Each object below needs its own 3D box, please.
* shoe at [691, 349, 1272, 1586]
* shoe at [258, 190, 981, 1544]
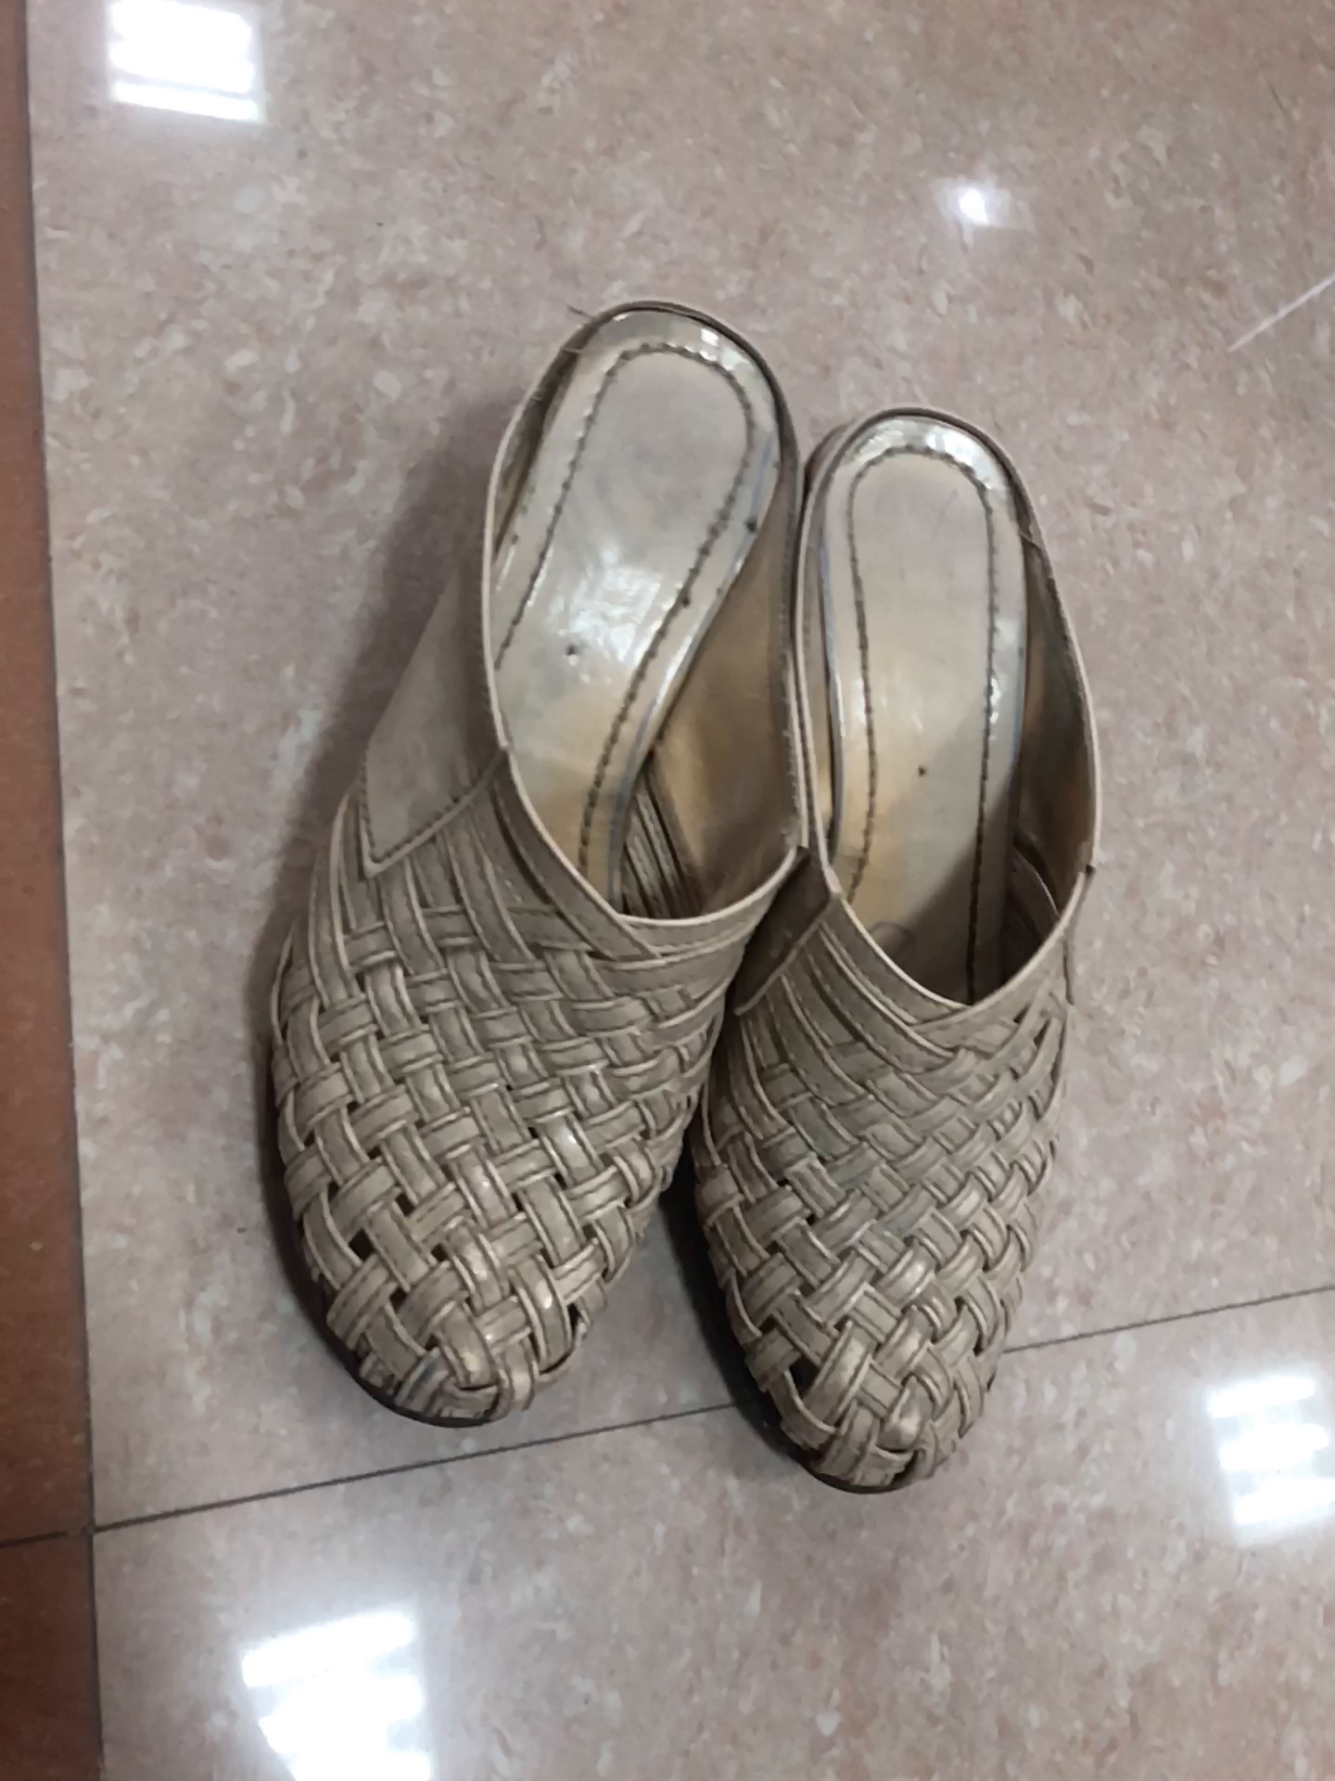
[{"bbox_3d":[0.064,0.016,0.332,0.090,0.080,0.240,6,76,-14],"label":"shoe"},{"bbox_3d":[-0.008,-0.006,0.309,0.090,0.080,0.240,15,73,-14],"label":"shoe"}]
